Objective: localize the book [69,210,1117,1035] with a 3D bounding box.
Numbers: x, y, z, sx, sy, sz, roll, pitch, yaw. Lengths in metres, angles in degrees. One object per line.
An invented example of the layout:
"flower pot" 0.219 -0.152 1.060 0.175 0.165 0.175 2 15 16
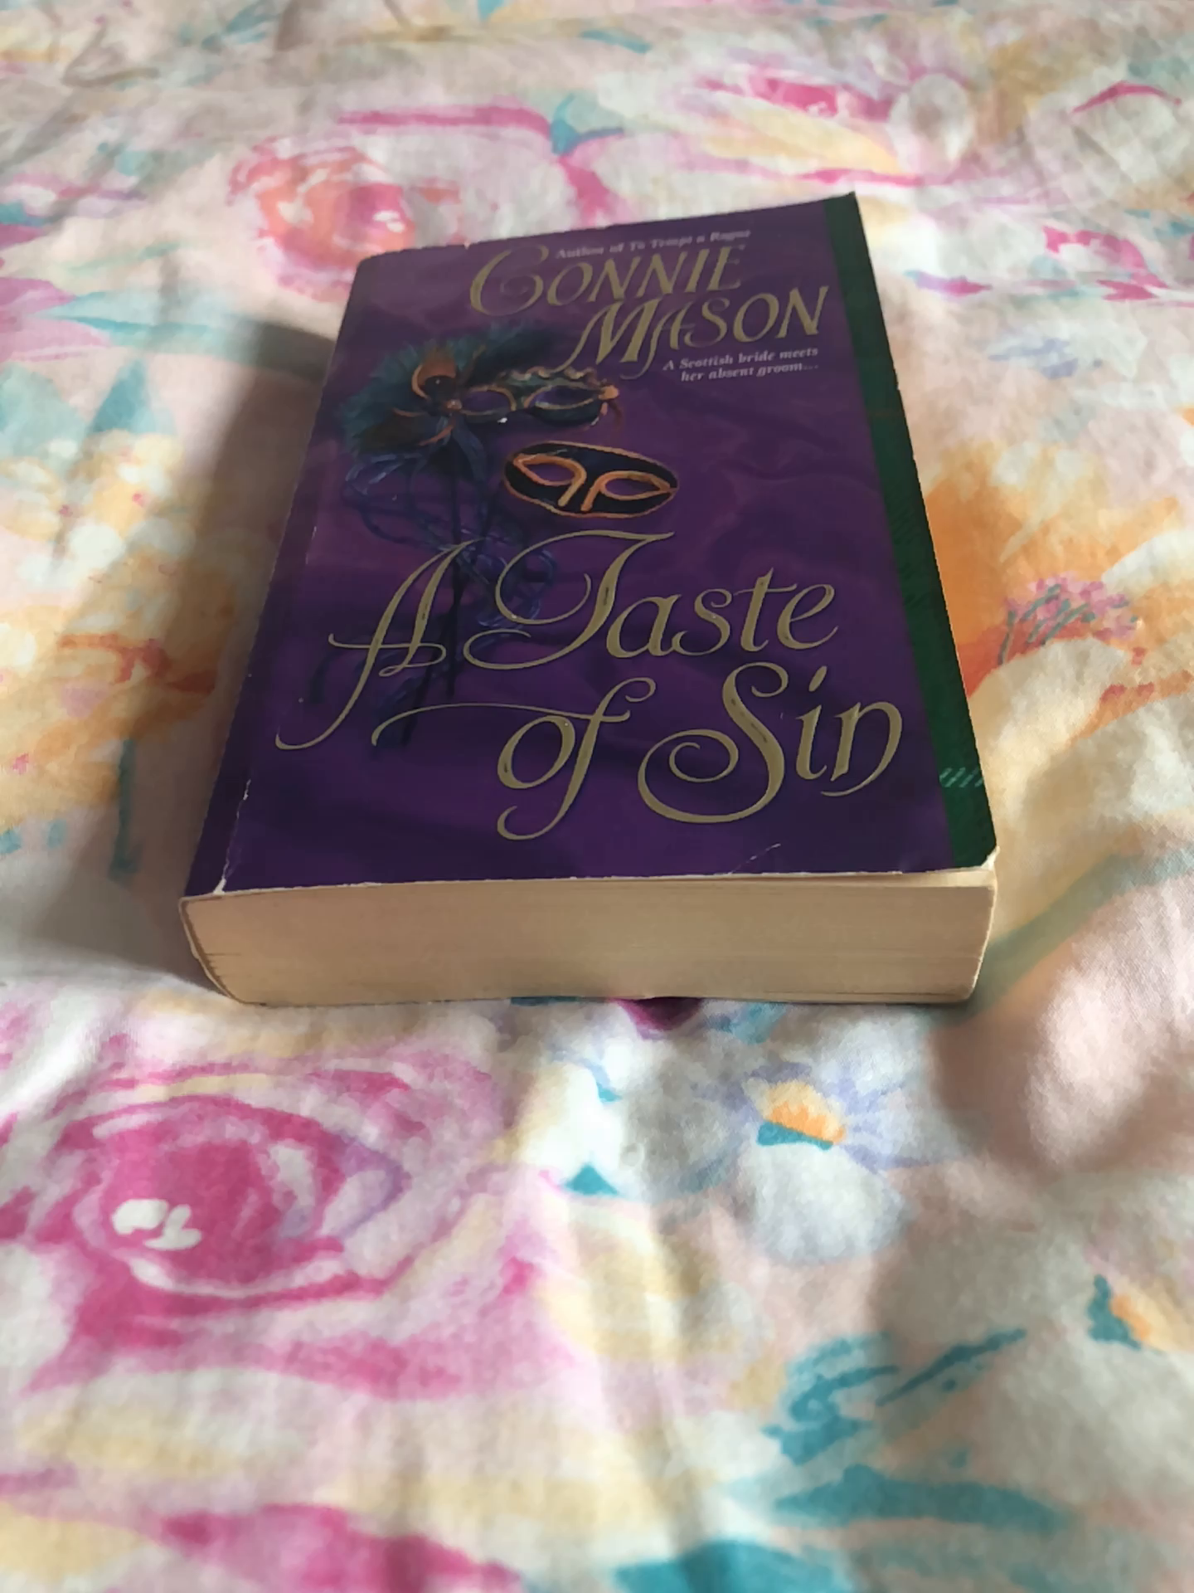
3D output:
"book" -0.001 -0.046 0.231 0.120 0.040 0.181 0 44 -1
